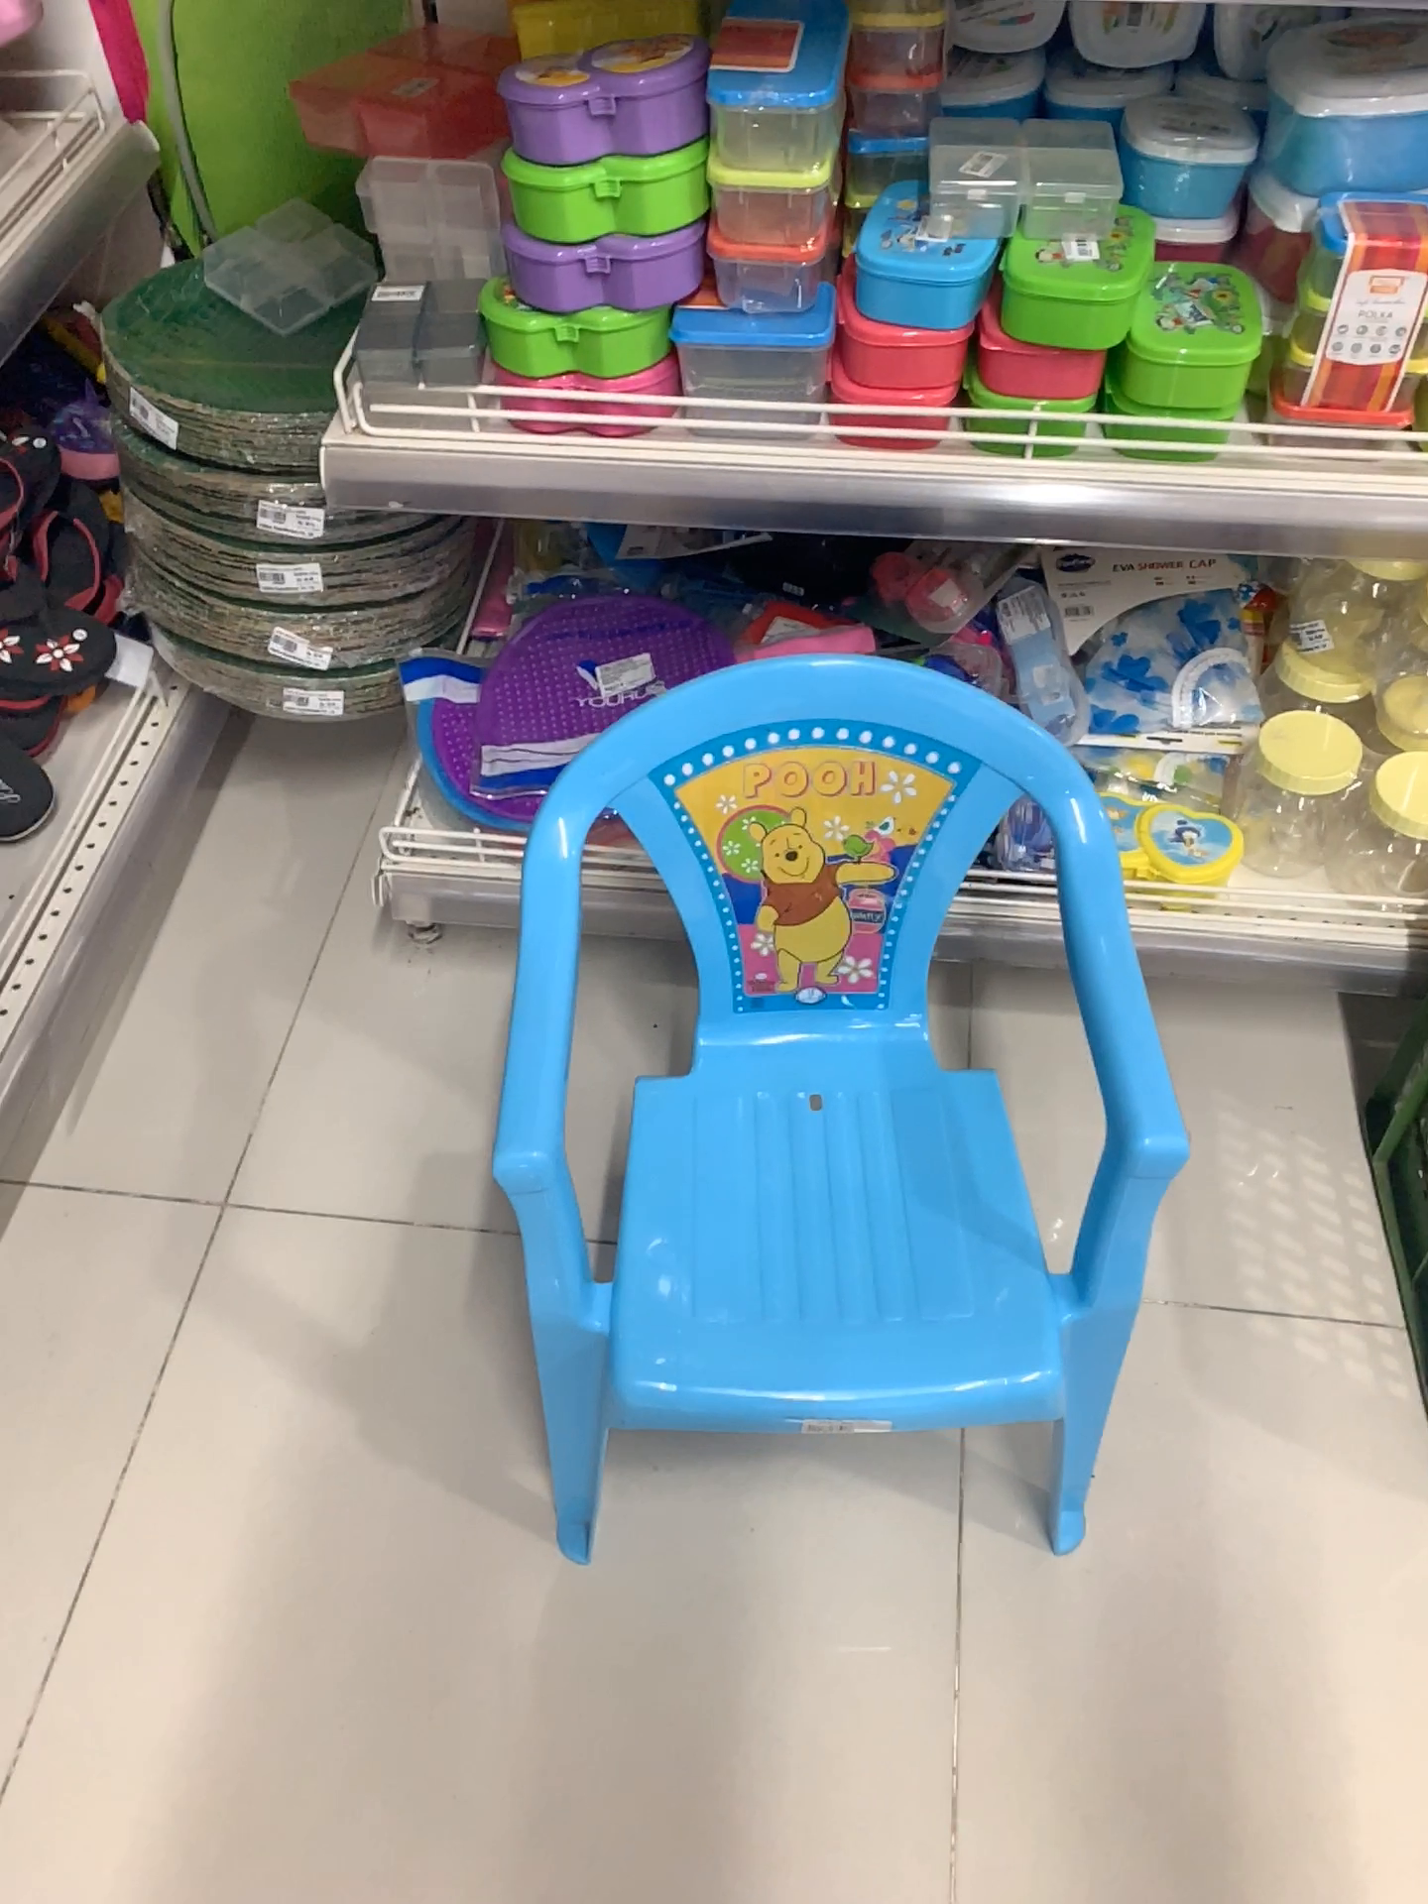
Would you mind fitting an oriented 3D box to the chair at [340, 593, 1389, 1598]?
[{"bbox_3d":[0.060,0.116,0.848,0.390,0.509,0.351,-2,51,1],"label":"chair"}]
